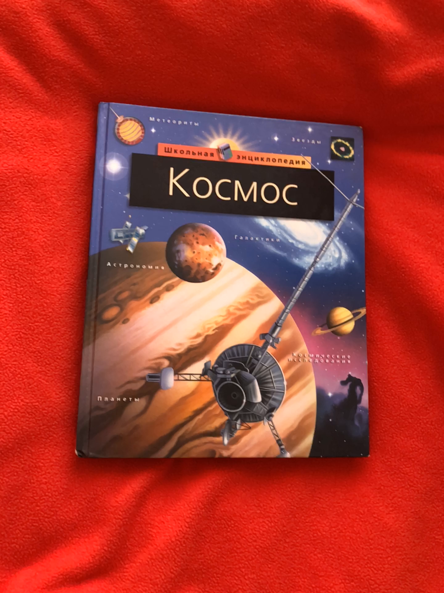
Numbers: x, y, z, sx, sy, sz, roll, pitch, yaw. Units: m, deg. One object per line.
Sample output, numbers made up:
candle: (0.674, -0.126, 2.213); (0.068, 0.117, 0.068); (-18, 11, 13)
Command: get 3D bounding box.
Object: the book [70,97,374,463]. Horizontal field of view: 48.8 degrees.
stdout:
book: (0.006, -0.013, 0.407); (0.235, 0.030, 0.284); (2, 82, -8)
